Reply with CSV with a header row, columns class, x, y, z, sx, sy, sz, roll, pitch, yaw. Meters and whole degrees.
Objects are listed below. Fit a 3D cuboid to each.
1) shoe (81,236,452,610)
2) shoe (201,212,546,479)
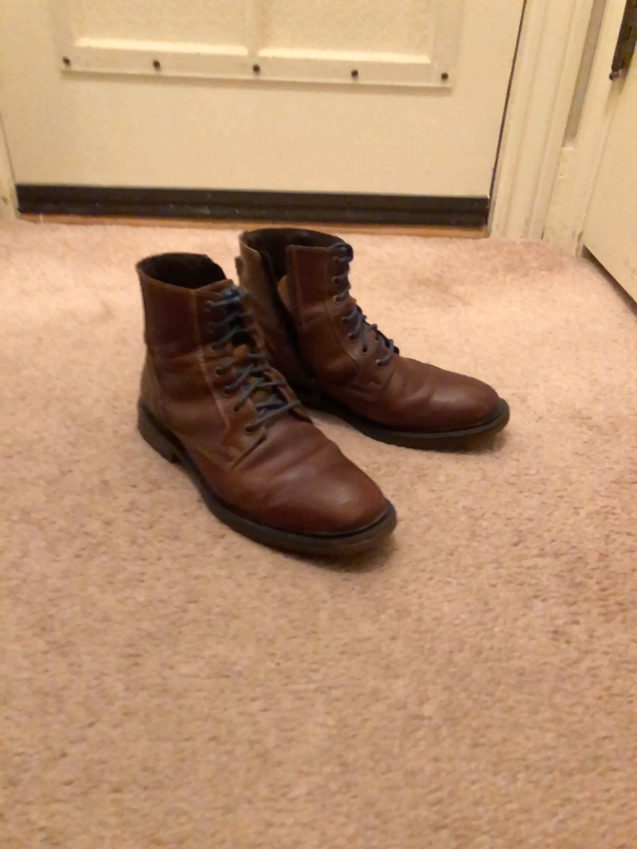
class,x,y,z,sx,sy,sz,roll,pitch,yaw
shoe,-0.060,-0.023,0.591,0.113,0.172,0.316,-26,43,-36
shoe,0.047,-0.088,0.693,0.301,0.172,0.111,16,36,19
